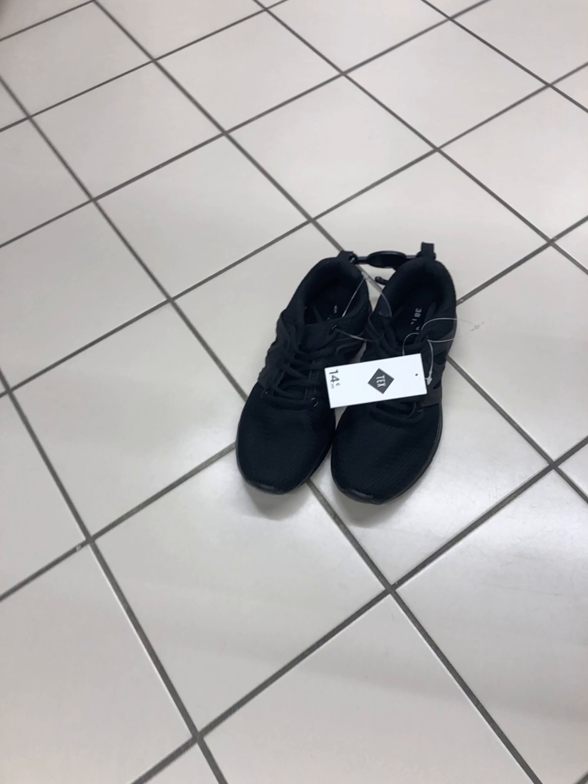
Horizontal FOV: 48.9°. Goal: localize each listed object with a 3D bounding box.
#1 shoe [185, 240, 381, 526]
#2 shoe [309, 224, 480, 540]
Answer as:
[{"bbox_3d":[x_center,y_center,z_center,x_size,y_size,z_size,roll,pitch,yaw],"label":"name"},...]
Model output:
[{"bbox_3d":[0.000,-0.013,0.651,0.100,0.110,0.251,17,63,12],"label":"shoe"},{"bbox_3d":[0.100,-0.014,0.631,0.100,0.120,0.271,12,62,10],"label":"shoe"}]
